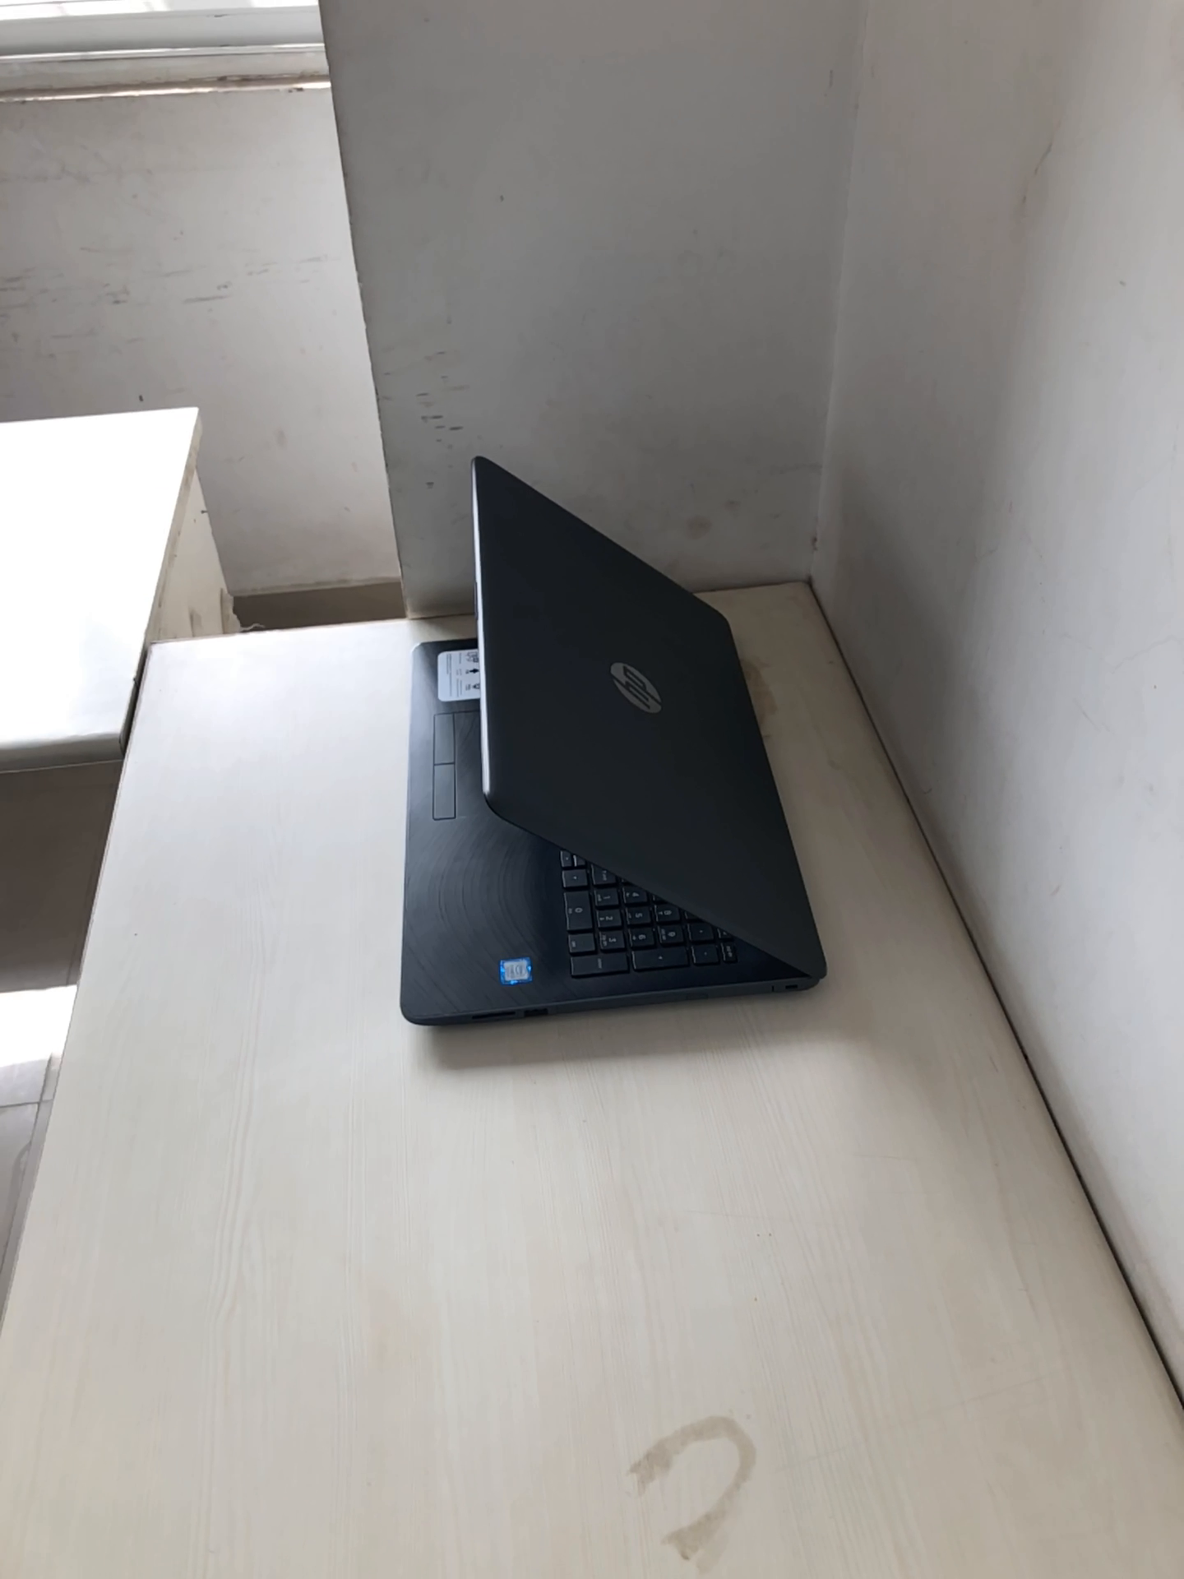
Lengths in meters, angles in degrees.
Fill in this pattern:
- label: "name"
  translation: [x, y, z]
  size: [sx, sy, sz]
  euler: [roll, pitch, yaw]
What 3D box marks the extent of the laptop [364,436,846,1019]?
- label: "laptop"
  translation: [-0.007, -0.059, 0.836]
  size: [0.244, 0.156, 0.358]
  euler: [-4, 43, -4]
